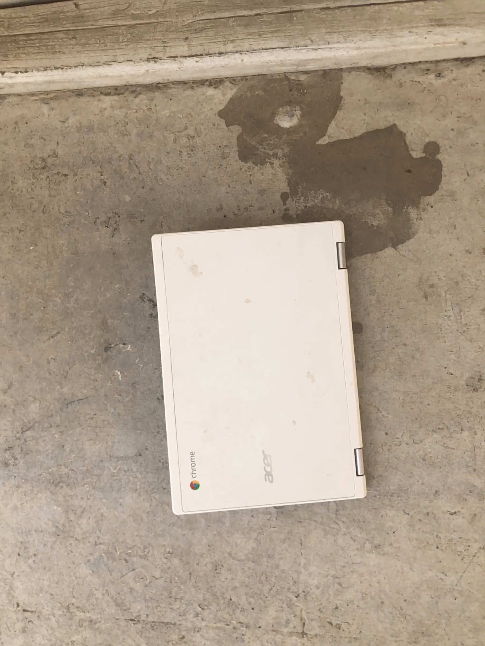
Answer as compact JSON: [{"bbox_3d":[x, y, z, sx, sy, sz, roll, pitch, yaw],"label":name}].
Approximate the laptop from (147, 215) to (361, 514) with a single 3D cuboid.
[{"bbox_3d":[0.012,0.043,0.546,0.190,0.046,0.278,-5,89,7],"label":"laptop"}]
